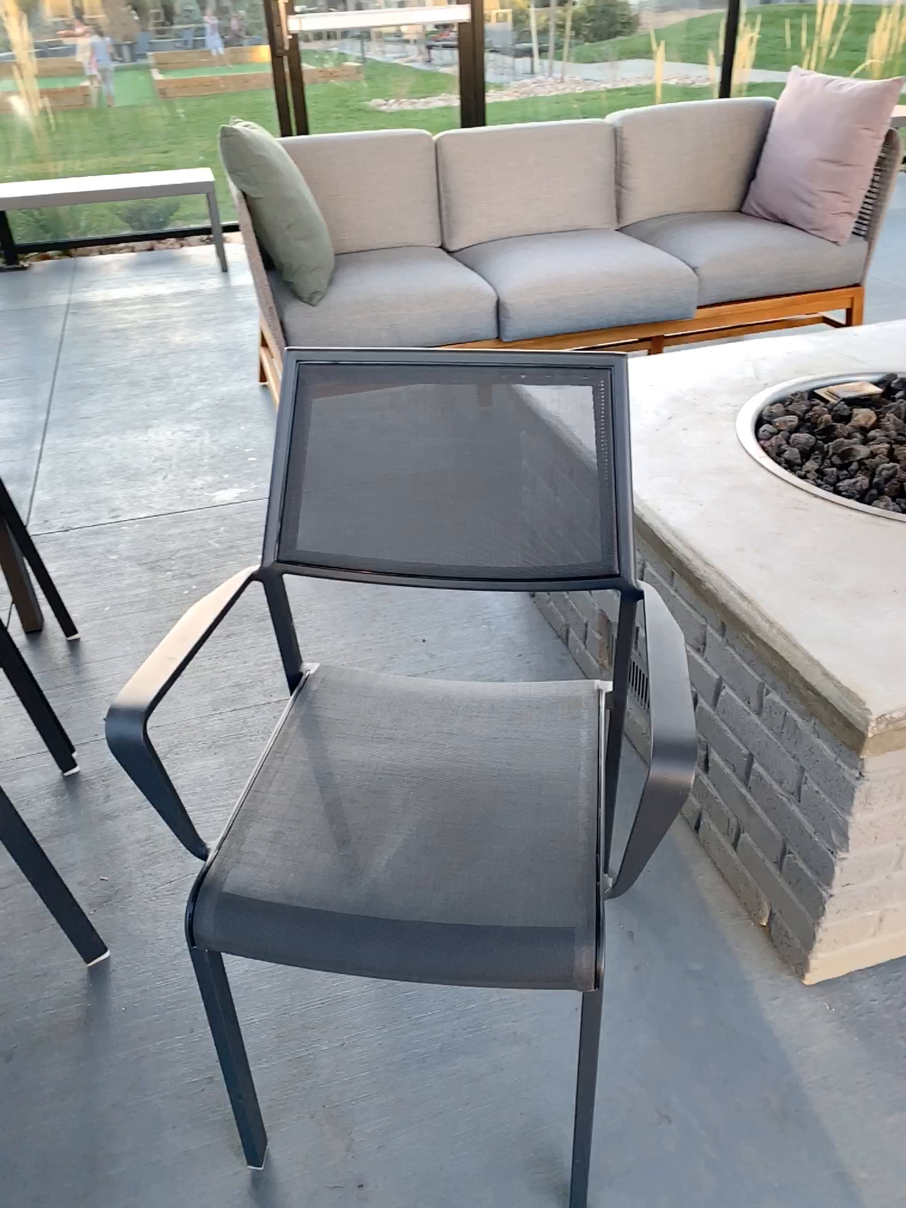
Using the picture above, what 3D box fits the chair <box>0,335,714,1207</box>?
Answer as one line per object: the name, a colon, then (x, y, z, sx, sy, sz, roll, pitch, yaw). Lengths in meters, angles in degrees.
chair: (-0.030, 0.182, 1.071, 0.510, 0.806, 0.613, 2, 33, 9)
